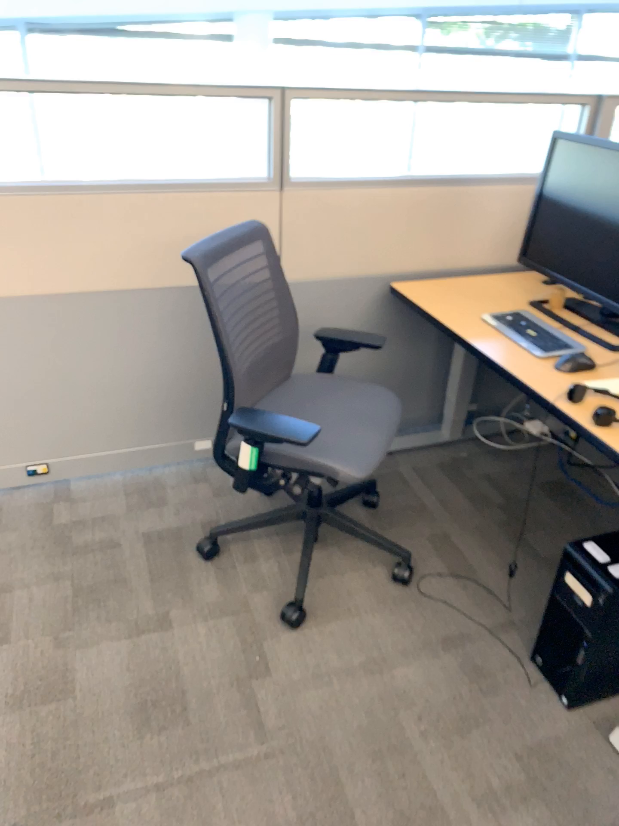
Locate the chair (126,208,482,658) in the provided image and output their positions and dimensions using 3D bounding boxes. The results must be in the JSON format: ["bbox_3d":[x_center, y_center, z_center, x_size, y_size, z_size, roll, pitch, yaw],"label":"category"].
[{"bbox_3d":[0.021,0.007,2.082,0.801,1.084,0.773,12,31,16],"label":"chair"}]

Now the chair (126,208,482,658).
[{"bbox_3d":[0.021,0.007,2.082,0.801,1.084,0.773,12,31,16],"label":"chair"}]
